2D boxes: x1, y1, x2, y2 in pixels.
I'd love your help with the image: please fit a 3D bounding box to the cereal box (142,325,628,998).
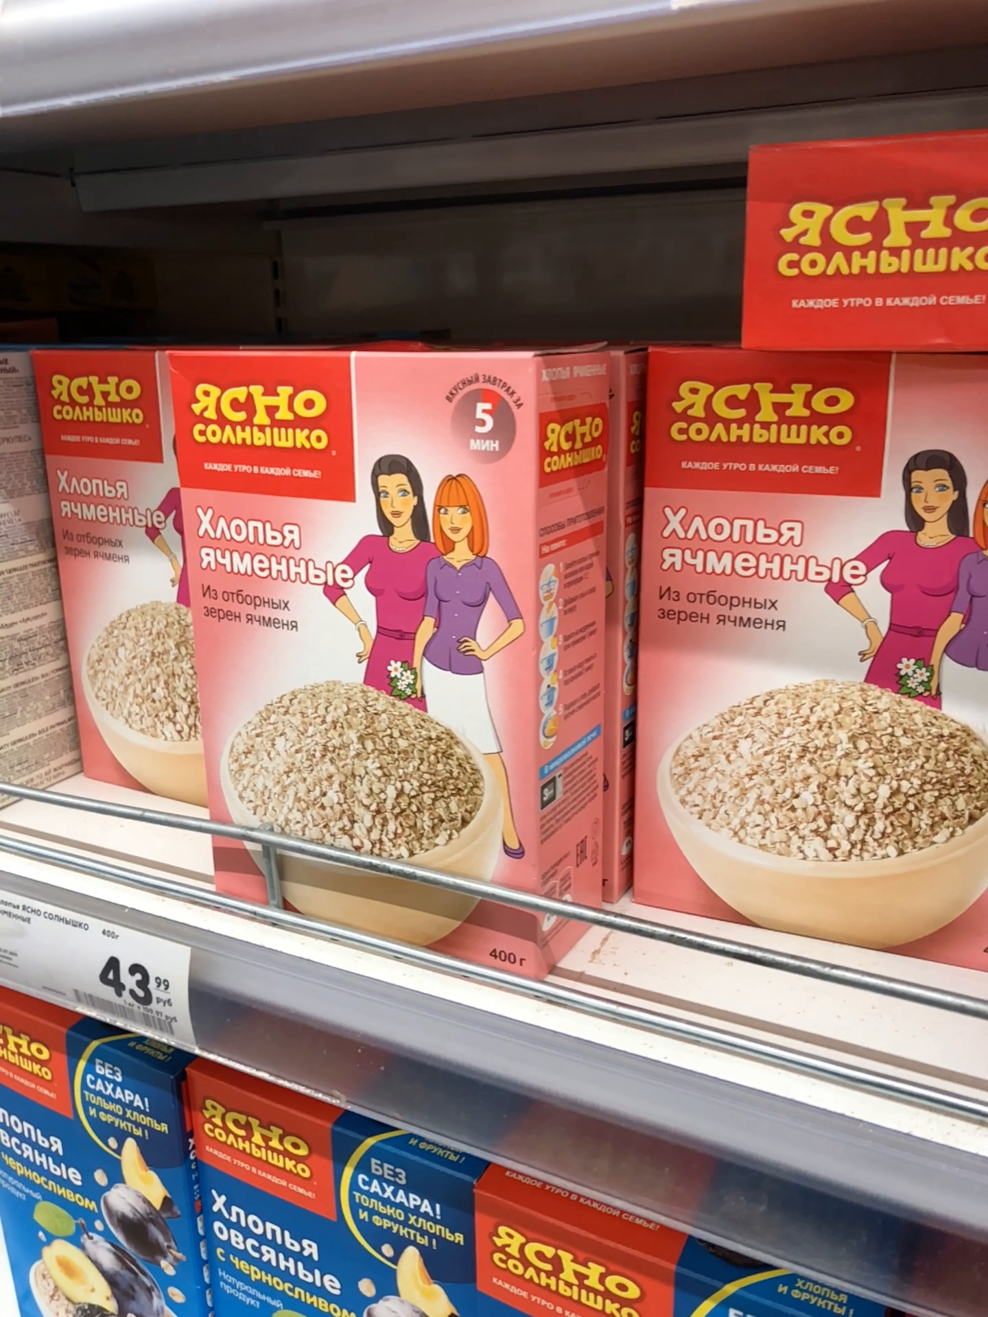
[{"bbox_3d":[-0.034,-0.006,0.350,0.140,0.189,0.050,8,18,28],"label":"cereal box"}]
